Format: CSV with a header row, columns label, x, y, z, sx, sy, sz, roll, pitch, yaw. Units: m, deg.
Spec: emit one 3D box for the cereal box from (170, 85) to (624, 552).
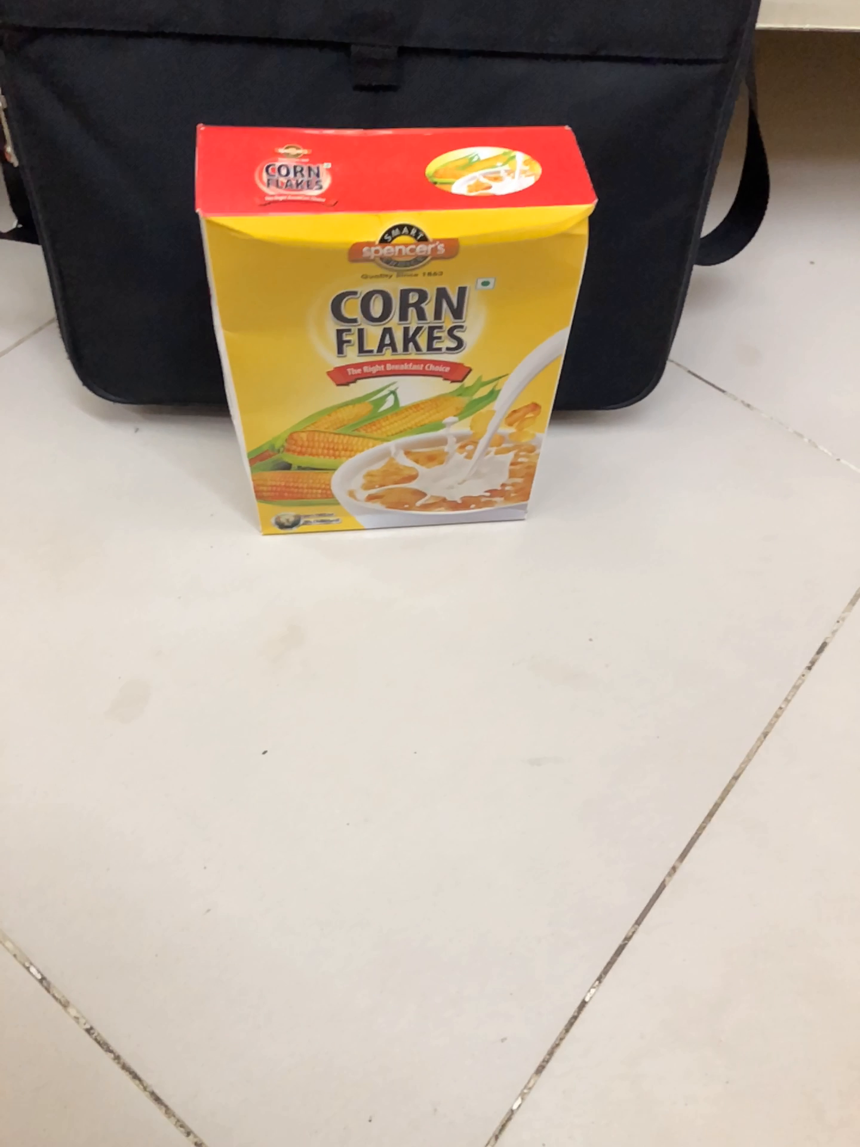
label,x,y,z,sx,sy,sz,roll,pitch,yaw
cereal box,-0.019,-0.120,0.529,0.190,0.269,0.070,-4,59,-4
